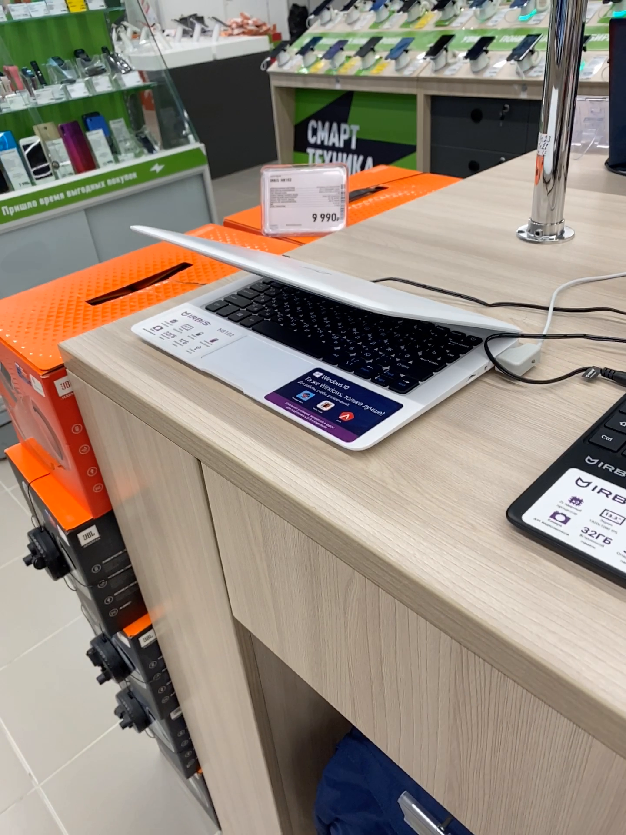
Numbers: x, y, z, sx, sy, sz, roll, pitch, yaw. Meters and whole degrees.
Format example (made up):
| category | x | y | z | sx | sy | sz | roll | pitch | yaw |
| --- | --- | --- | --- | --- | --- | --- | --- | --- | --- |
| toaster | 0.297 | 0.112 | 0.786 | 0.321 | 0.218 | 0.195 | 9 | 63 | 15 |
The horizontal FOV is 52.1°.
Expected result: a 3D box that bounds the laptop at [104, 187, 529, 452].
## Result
| category | x | y | z | sx | sy | sz | roll | pitch | yaw |
| --- | --- | --- | --- | --- | --- | --- | --- | --- | --- |
| laptop | -0.009 | -0.101 | 0.502 | 0.178 | 0.078 | 0.281 | -32 | 41 | -32 |
